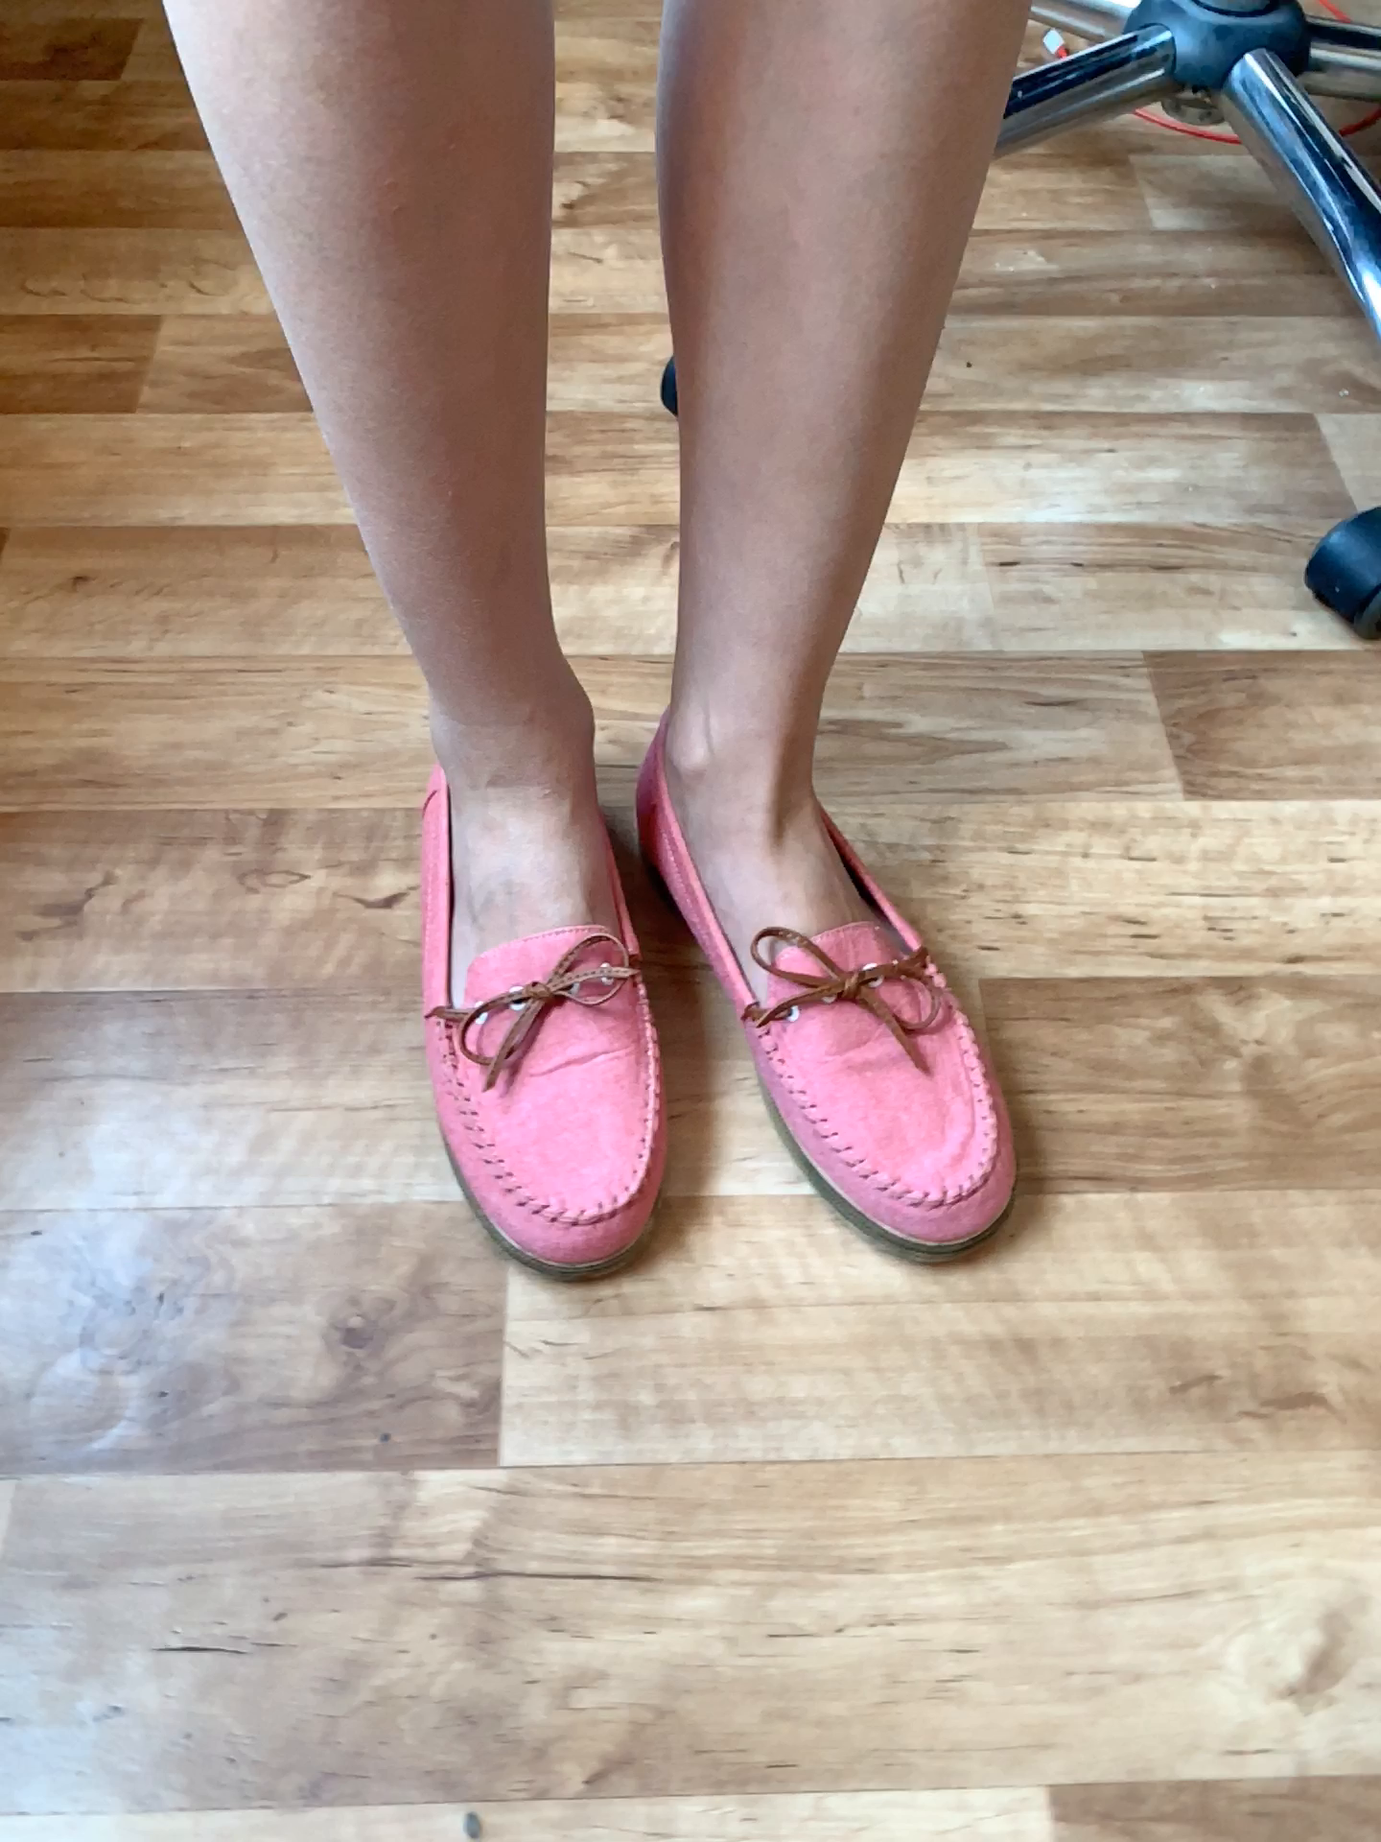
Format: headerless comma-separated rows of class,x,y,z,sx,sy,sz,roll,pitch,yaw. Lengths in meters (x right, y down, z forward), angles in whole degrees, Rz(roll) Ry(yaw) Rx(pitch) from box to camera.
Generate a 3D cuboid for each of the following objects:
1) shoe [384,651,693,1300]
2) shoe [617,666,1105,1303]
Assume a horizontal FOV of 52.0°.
shoe,-0.066,0.010,0.569,0.100,0.060,0.261,-6,55,-5
shoe,0.056,0.014,0.573,0.090,0.060,0.251,-17,57,-12
